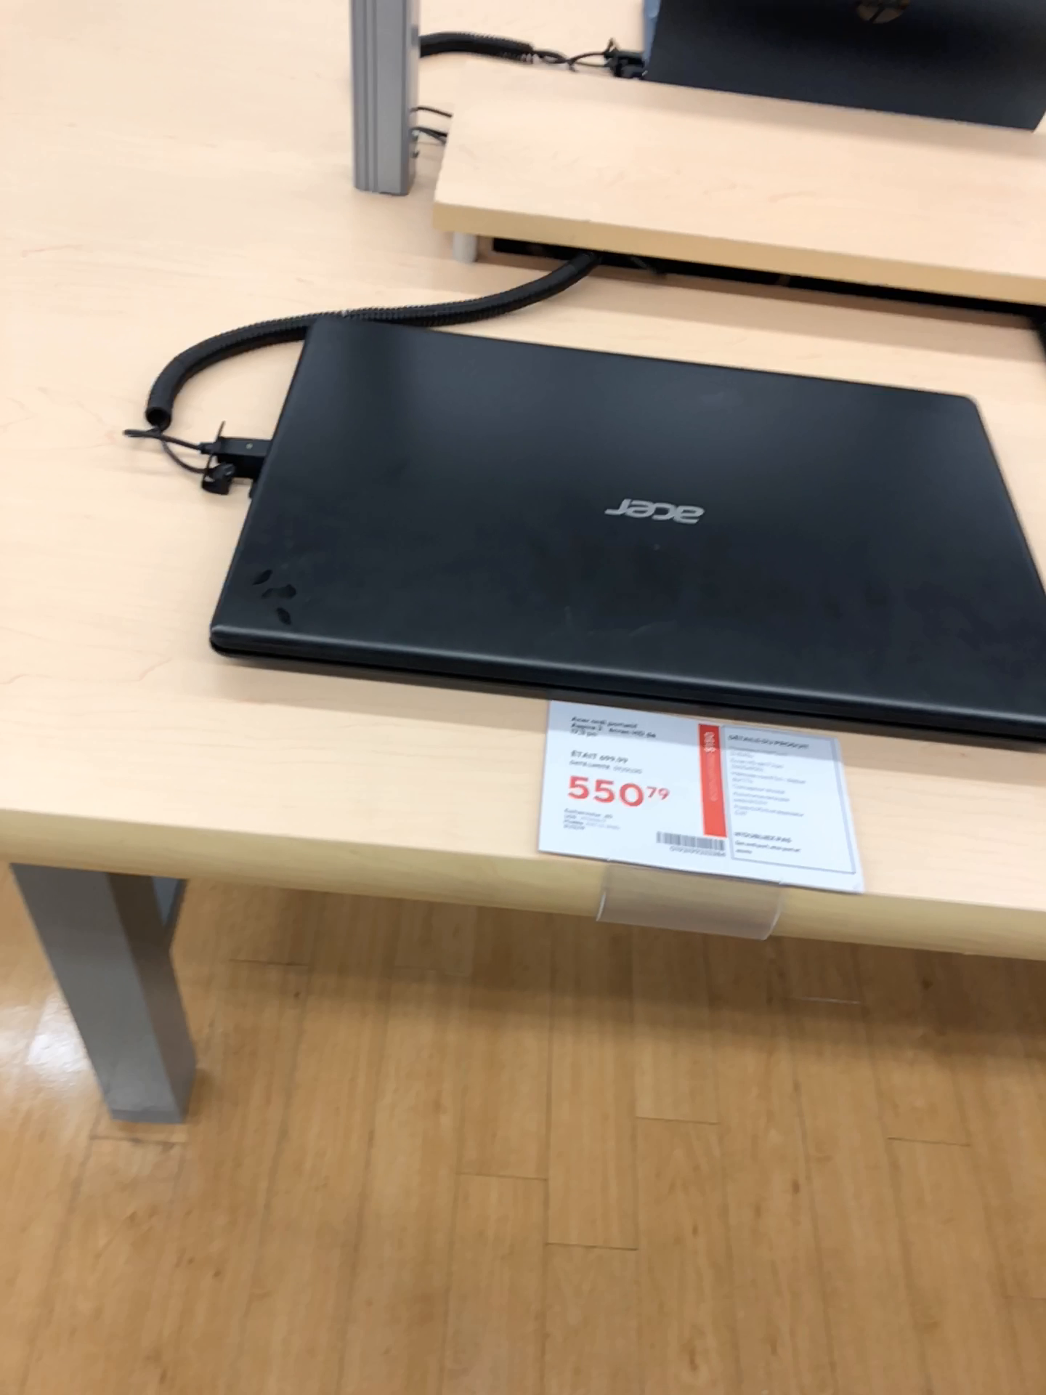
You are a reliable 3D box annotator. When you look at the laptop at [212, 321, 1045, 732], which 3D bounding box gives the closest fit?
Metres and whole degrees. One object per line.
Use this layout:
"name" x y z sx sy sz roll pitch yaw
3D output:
"laptop" 0.069 -0.108 0.625 0.416 0.001 0.268 6 48 -2
